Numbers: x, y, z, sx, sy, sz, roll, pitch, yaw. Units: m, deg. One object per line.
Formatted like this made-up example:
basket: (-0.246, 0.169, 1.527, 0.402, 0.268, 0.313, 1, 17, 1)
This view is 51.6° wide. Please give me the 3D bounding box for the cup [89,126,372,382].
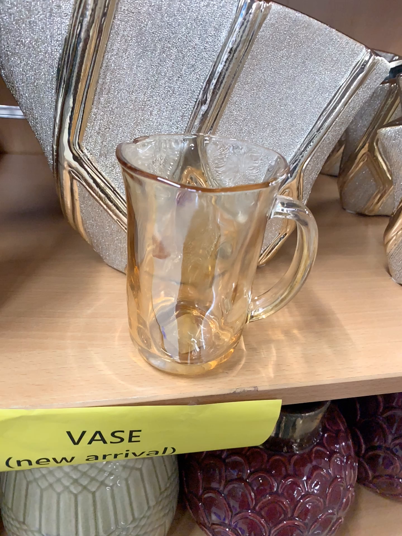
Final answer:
cup: (0.003, -0.009, 0.216, 0.110, 0.100, 0.080, 0, 32, -11)
